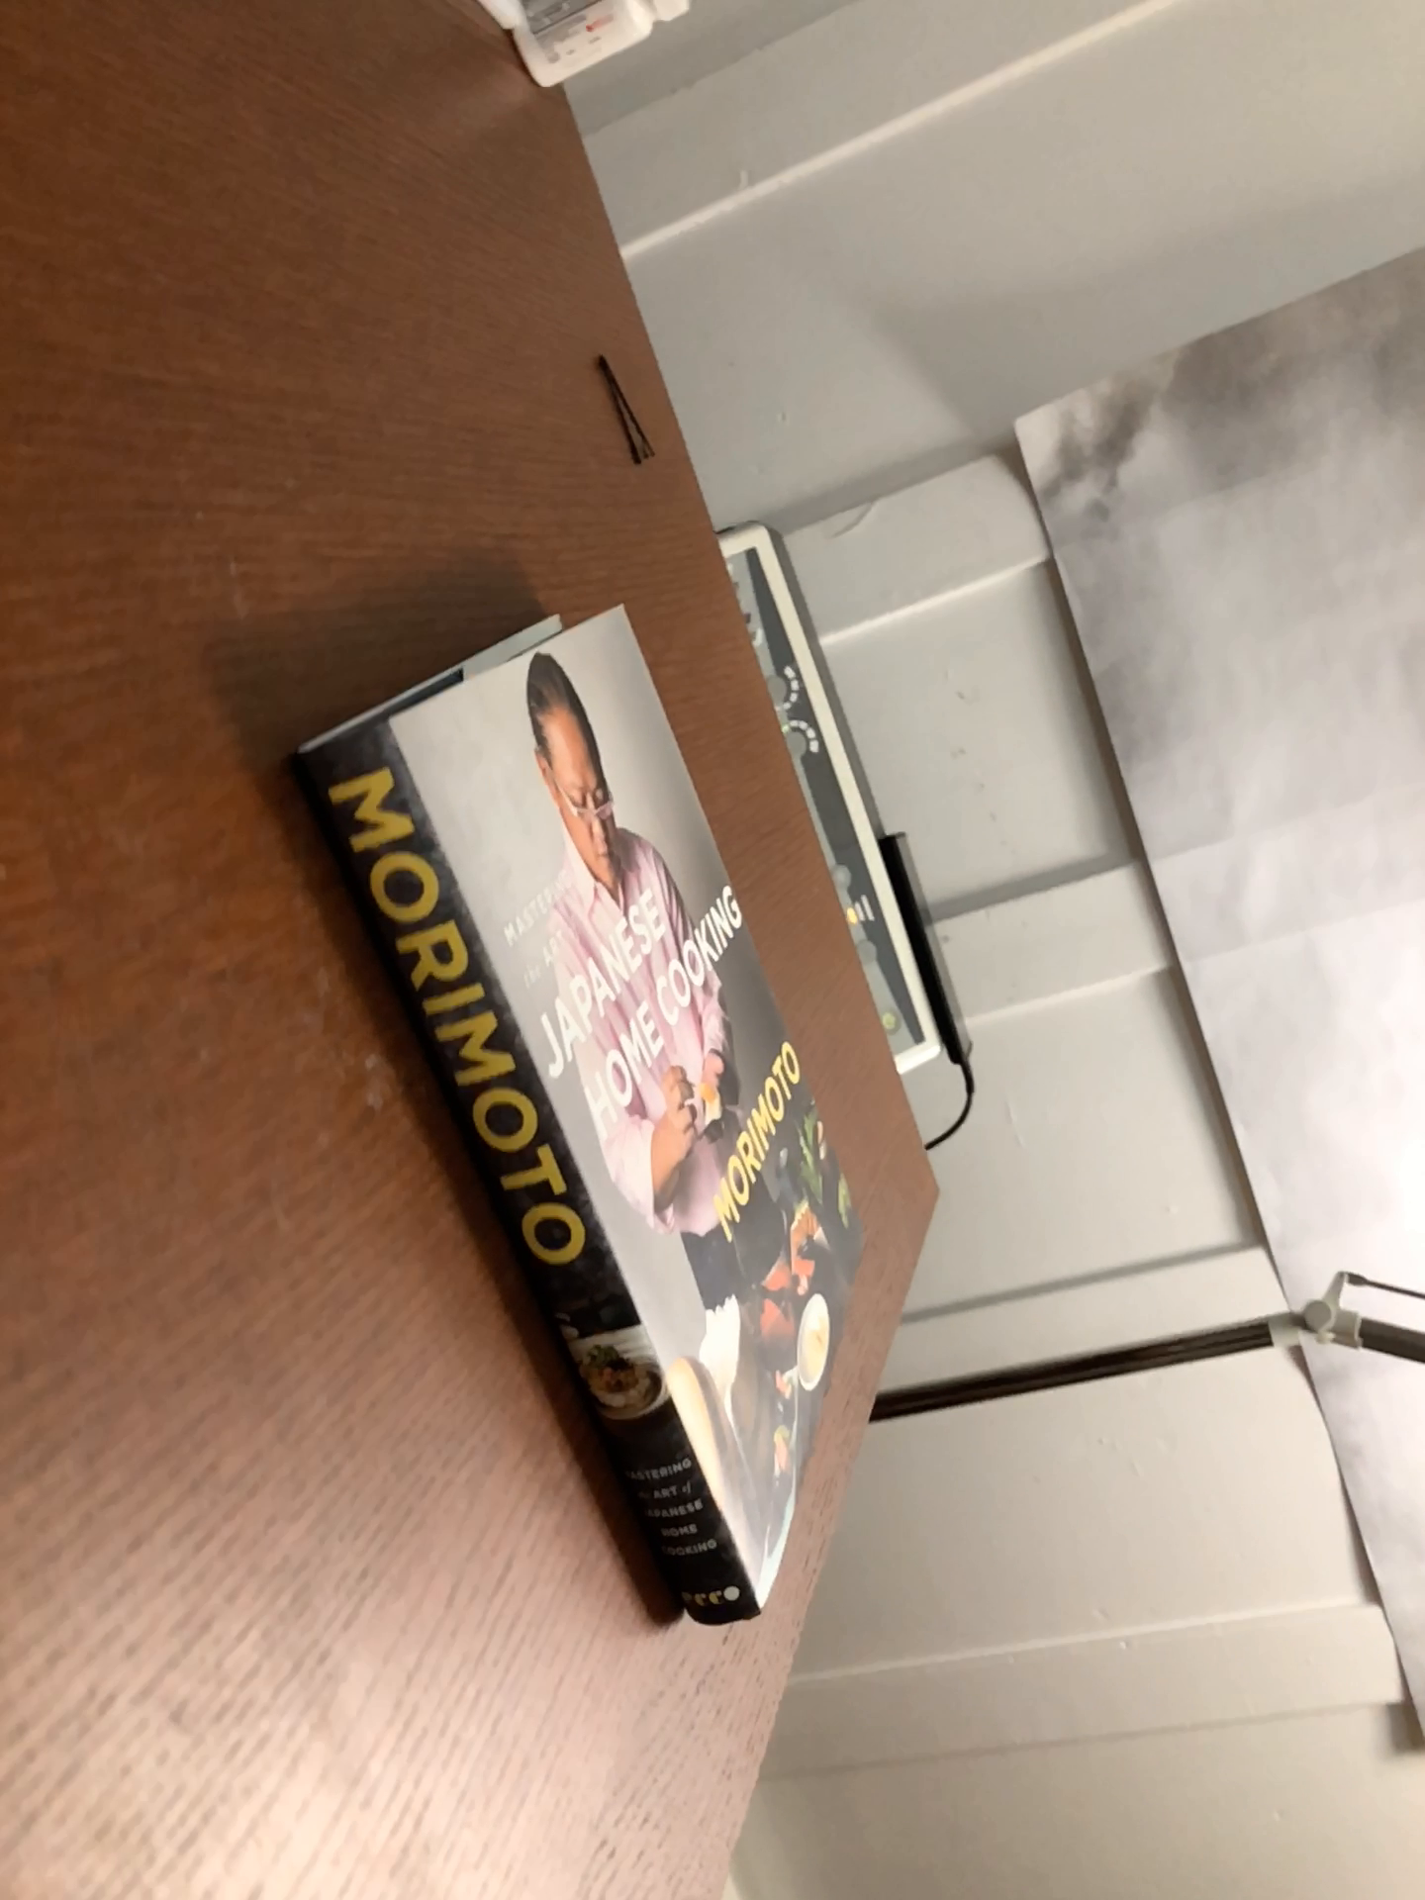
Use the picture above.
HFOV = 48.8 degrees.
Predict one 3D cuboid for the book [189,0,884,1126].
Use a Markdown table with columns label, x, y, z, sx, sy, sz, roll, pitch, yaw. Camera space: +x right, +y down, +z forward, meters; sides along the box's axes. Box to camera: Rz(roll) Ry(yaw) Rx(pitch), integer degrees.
| label | x | y | z | sx | sy | sz | roll | pitch | yaw |
| --- | --- | --- | --- | --- | --- | --- | --- | --- | --- |
| book | -0.031 | -0.110 | 0.438 | 0.221 | 0.030 | 0.300 | 4 | 70 | -71 |
